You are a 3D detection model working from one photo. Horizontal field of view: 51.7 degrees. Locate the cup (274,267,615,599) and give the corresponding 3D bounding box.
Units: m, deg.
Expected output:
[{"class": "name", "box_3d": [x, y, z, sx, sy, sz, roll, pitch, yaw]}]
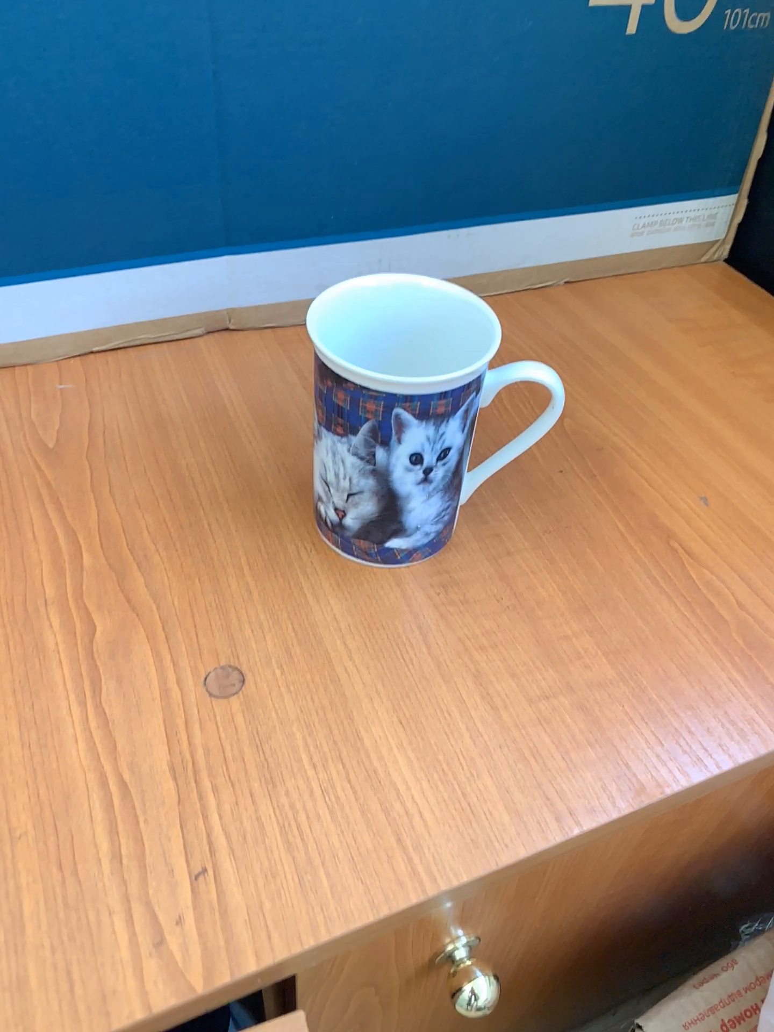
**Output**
[{"class": "cup", "box_3d": [0.015, -0.035, 0.333, 0.110, 0.100, 0.080, -6, 45, -11]}]
